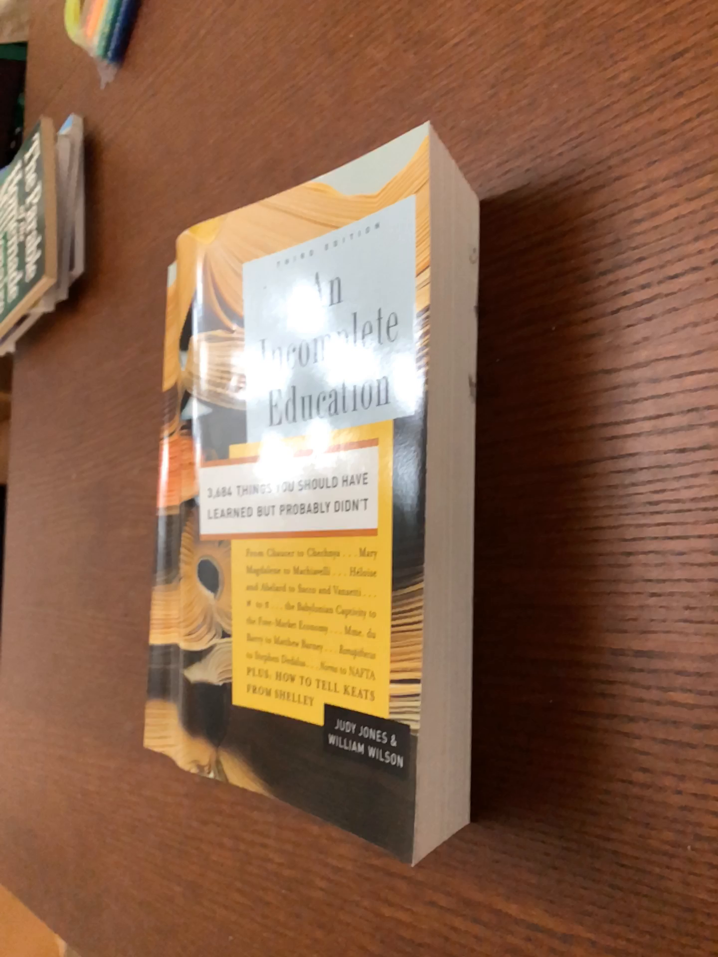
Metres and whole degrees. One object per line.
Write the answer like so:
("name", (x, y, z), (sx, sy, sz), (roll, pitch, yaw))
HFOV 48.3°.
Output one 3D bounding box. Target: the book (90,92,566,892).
("book", (-0.026, 0.007, 0.340), (0.211, 0.060, 0.250), (-6, 81, 41))
